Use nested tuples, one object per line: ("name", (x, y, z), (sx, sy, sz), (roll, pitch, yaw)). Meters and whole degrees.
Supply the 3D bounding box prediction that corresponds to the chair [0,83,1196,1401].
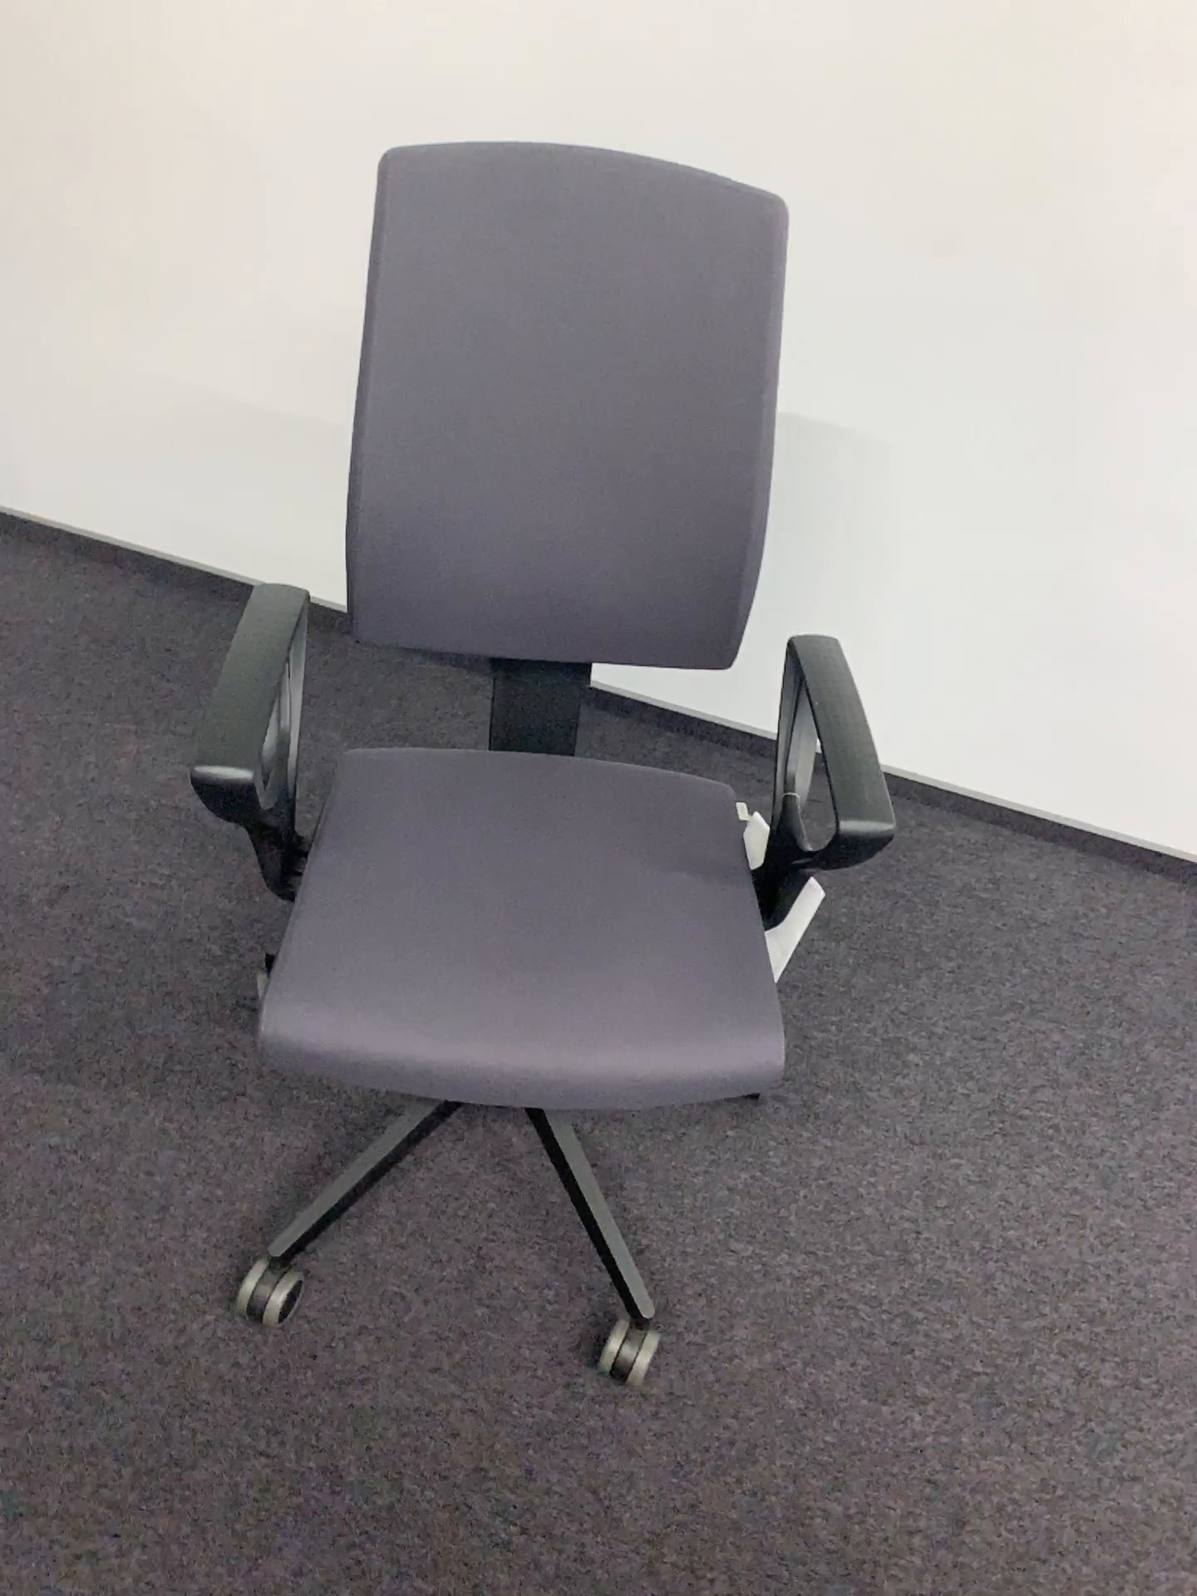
("chair", (-0.056, -0.021, 1.266), (0.700, 1.035, 0.784), (6, 41, -4))
